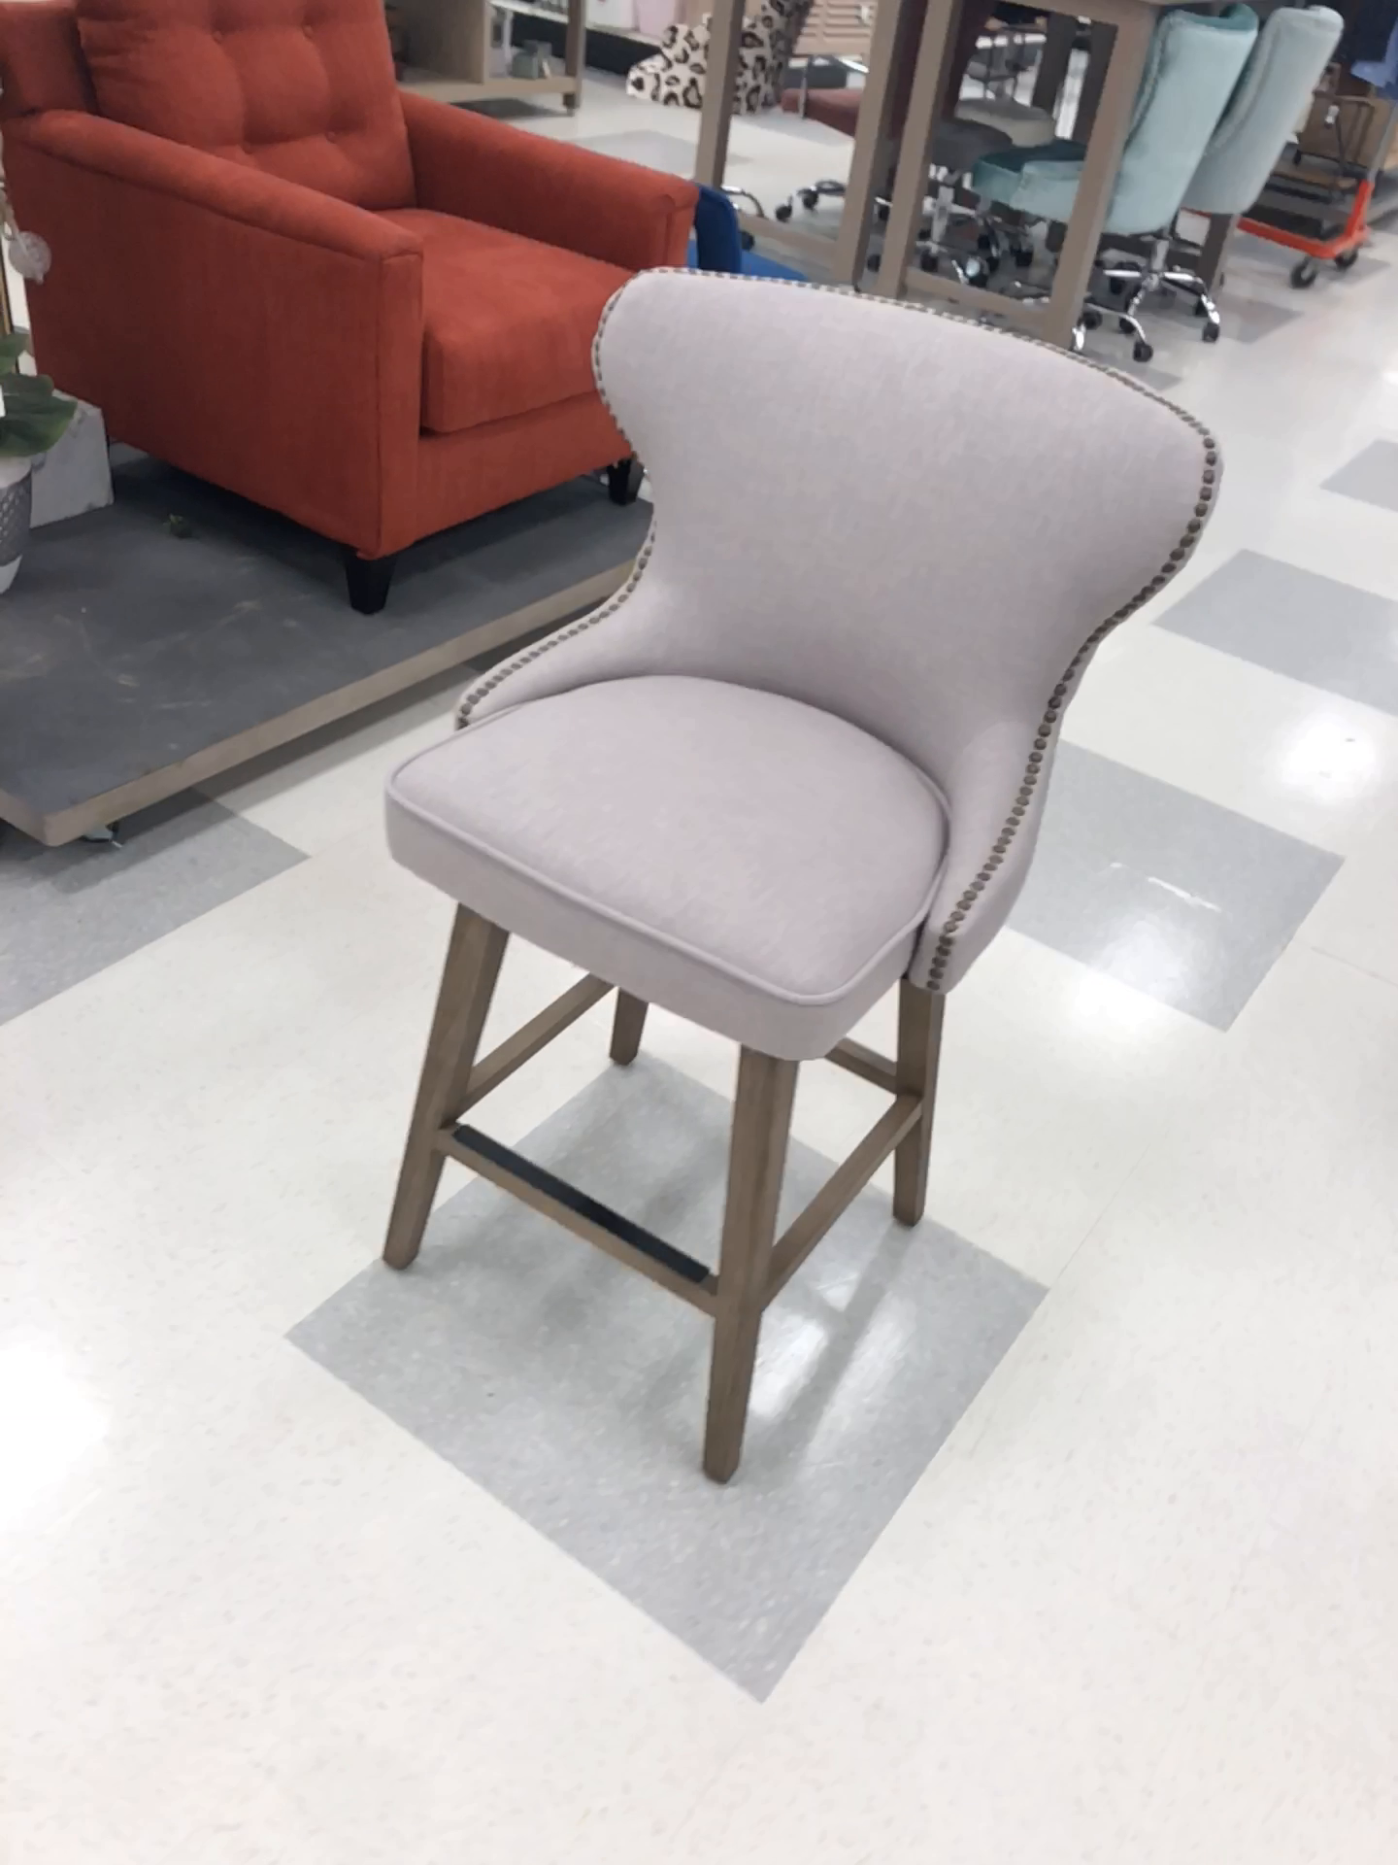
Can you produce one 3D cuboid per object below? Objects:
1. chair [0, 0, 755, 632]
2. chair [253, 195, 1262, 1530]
[{"bbox_3d":[-0.627,-1.317,2.885,0.998,0.969,0.914,29,41,26],"label":"chair"},{"bbox_3d":[0.002,-0.062,1.449,0.609,0.999,0.479,26,40,22],"label":"chair"}]
